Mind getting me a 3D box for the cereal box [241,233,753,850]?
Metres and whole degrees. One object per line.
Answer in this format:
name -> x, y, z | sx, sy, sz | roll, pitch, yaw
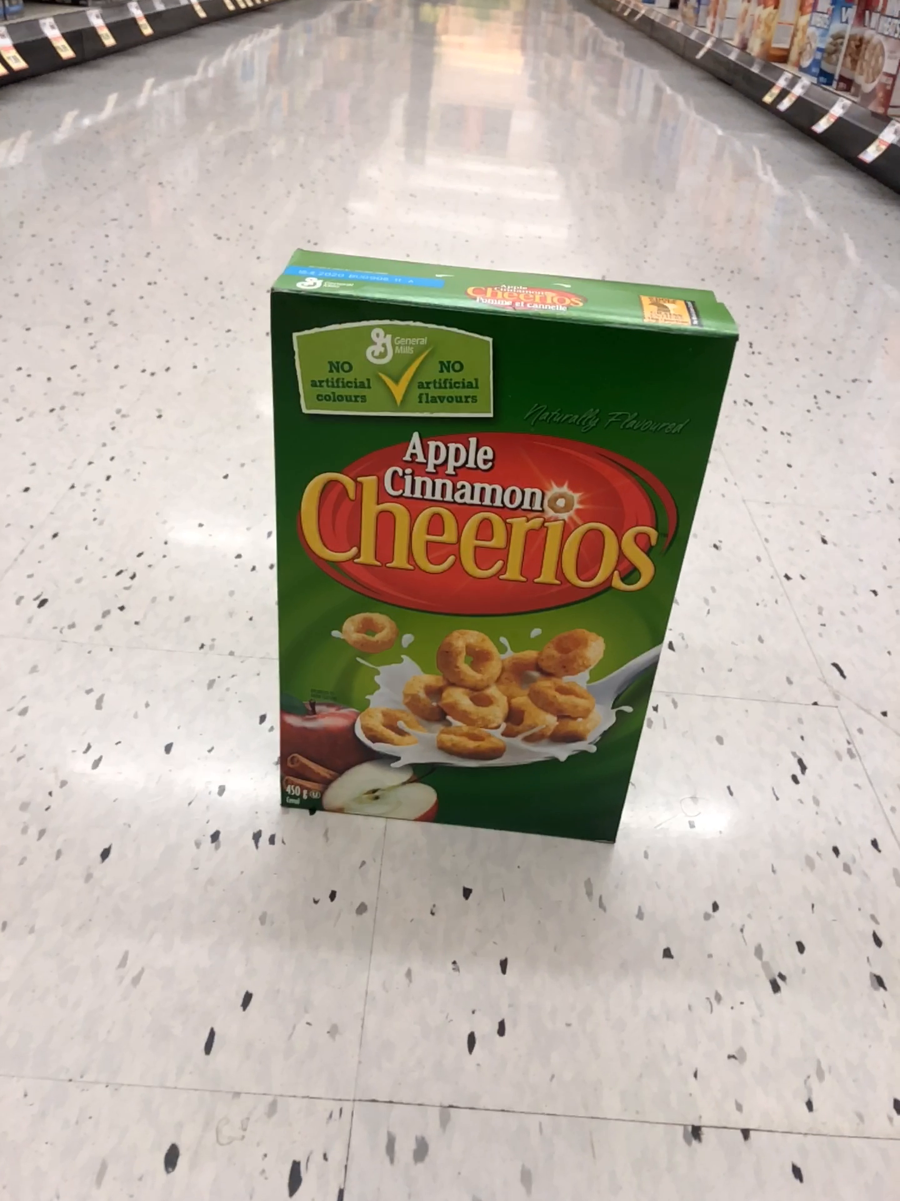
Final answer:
cereal box -> 0.007, -0.012, 0.467 | 0.190, 0.278, 0.060 | 6, 33, 0
